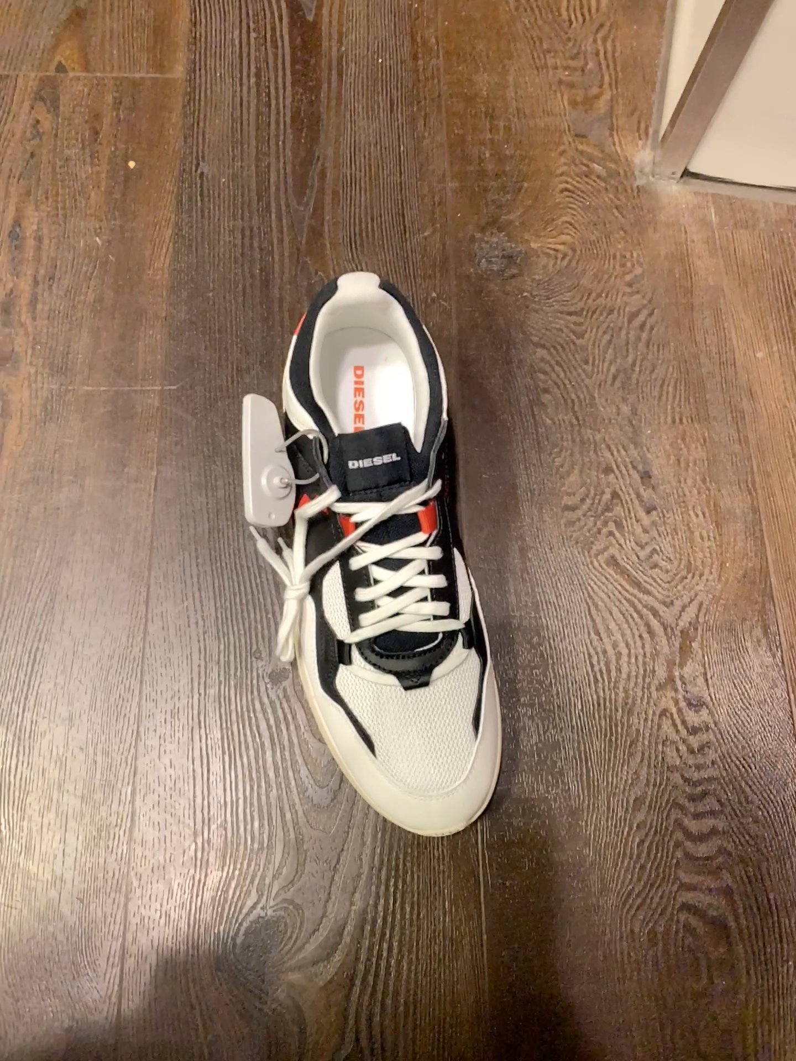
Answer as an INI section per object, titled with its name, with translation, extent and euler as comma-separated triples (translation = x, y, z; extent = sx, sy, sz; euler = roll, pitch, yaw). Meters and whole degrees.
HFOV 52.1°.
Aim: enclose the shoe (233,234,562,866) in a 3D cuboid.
[shoe]
translation = -0.011, 0.006, 0.440
extent = 0.110, 0.110, 0.301
euler = -8, 73, -5
